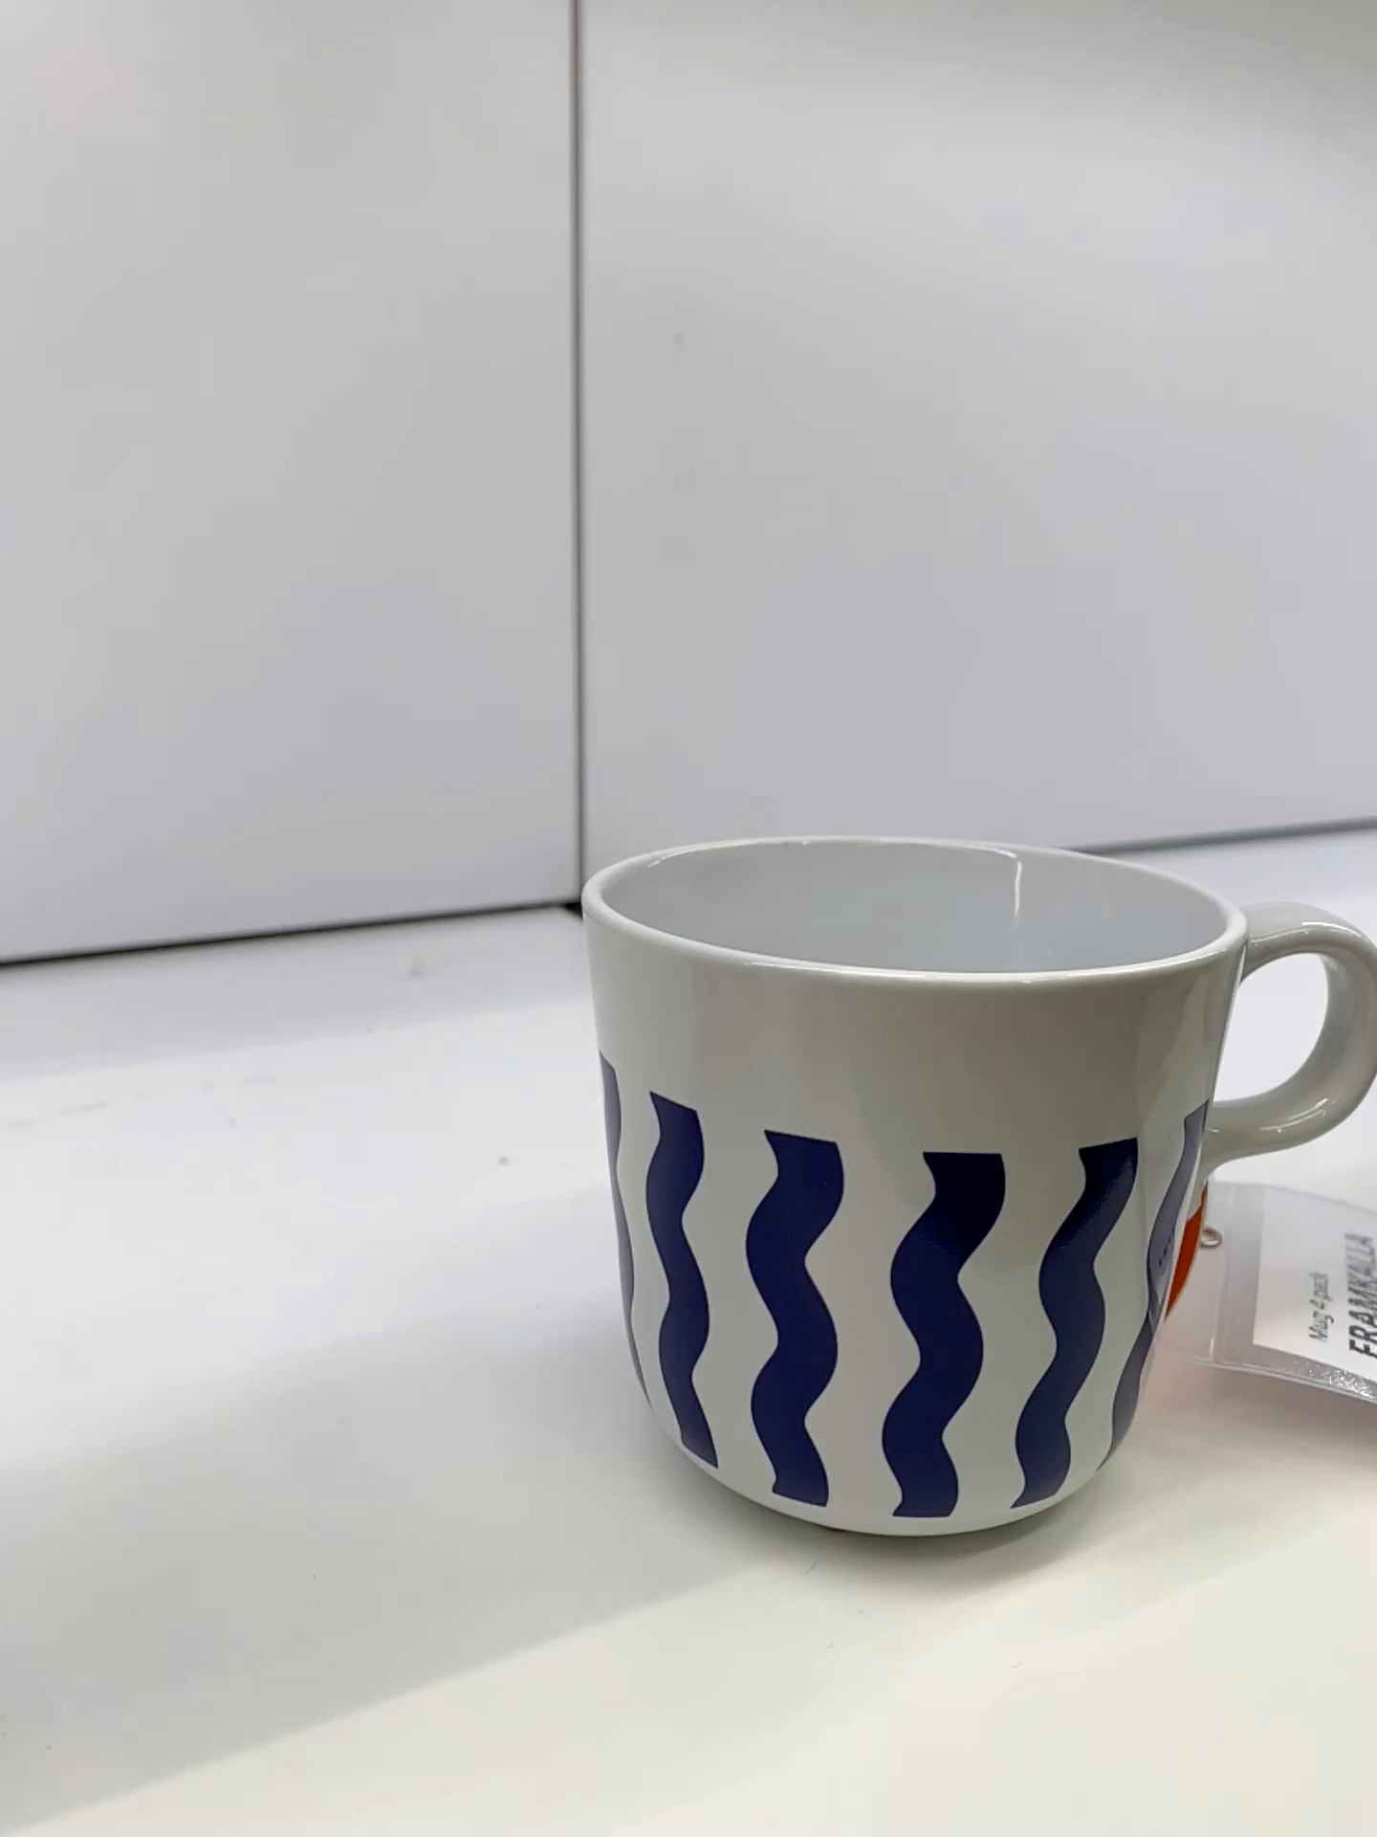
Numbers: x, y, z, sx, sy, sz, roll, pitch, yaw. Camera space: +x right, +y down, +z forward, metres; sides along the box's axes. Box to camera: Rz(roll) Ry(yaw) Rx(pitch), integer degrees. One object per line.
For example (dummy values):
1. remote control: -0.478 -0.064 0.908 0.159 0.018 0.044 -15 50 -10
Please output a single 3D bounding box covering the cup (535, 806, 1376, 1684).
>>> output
1. cup: 0.042 0.029 0.193 0.101 0.071 0.076 -7 14 -28
